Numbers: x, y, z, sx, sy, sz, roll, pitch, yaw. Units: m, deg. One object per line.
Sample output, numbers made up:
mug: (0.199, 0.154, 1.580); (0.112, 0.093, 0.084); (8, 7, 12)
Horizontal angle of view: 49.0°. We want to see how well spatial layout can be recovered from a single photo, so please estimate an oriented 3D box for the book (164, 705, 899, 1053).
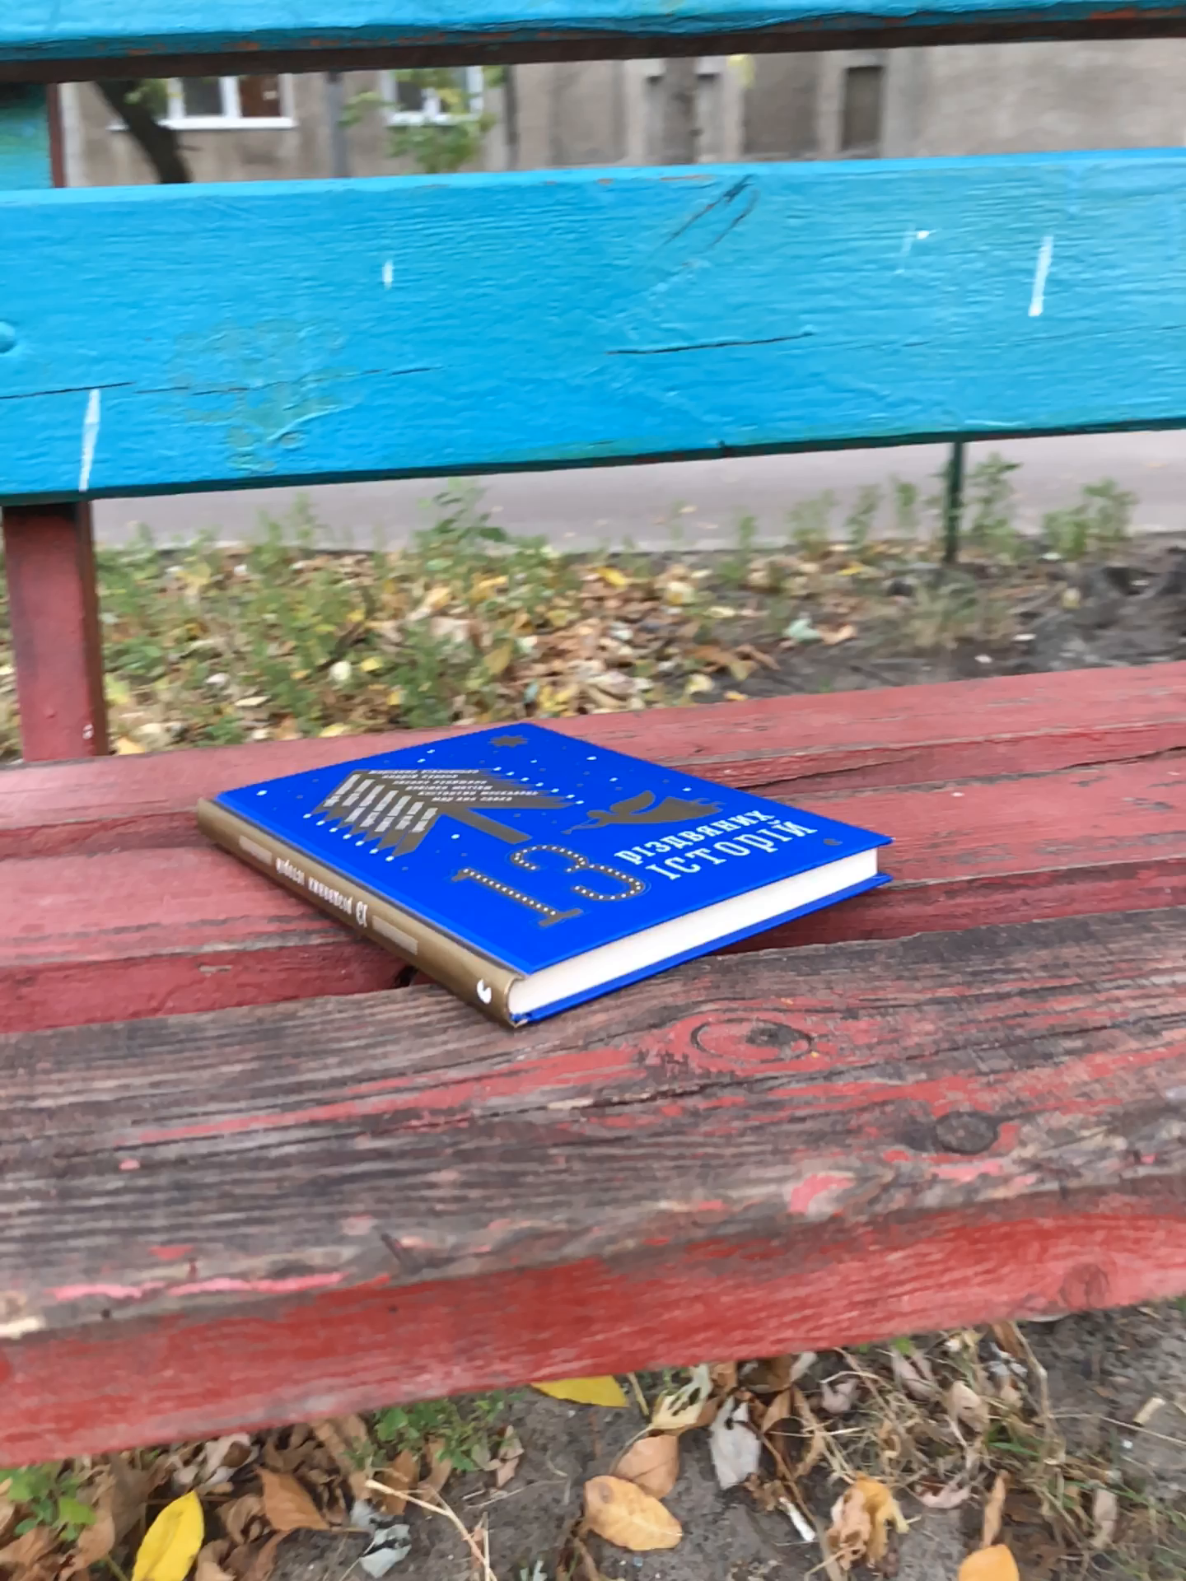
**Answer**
book: (-0.030, 0.014, 0.445); (0.155, 0.020, 0.212); (-17, 23, -35)
